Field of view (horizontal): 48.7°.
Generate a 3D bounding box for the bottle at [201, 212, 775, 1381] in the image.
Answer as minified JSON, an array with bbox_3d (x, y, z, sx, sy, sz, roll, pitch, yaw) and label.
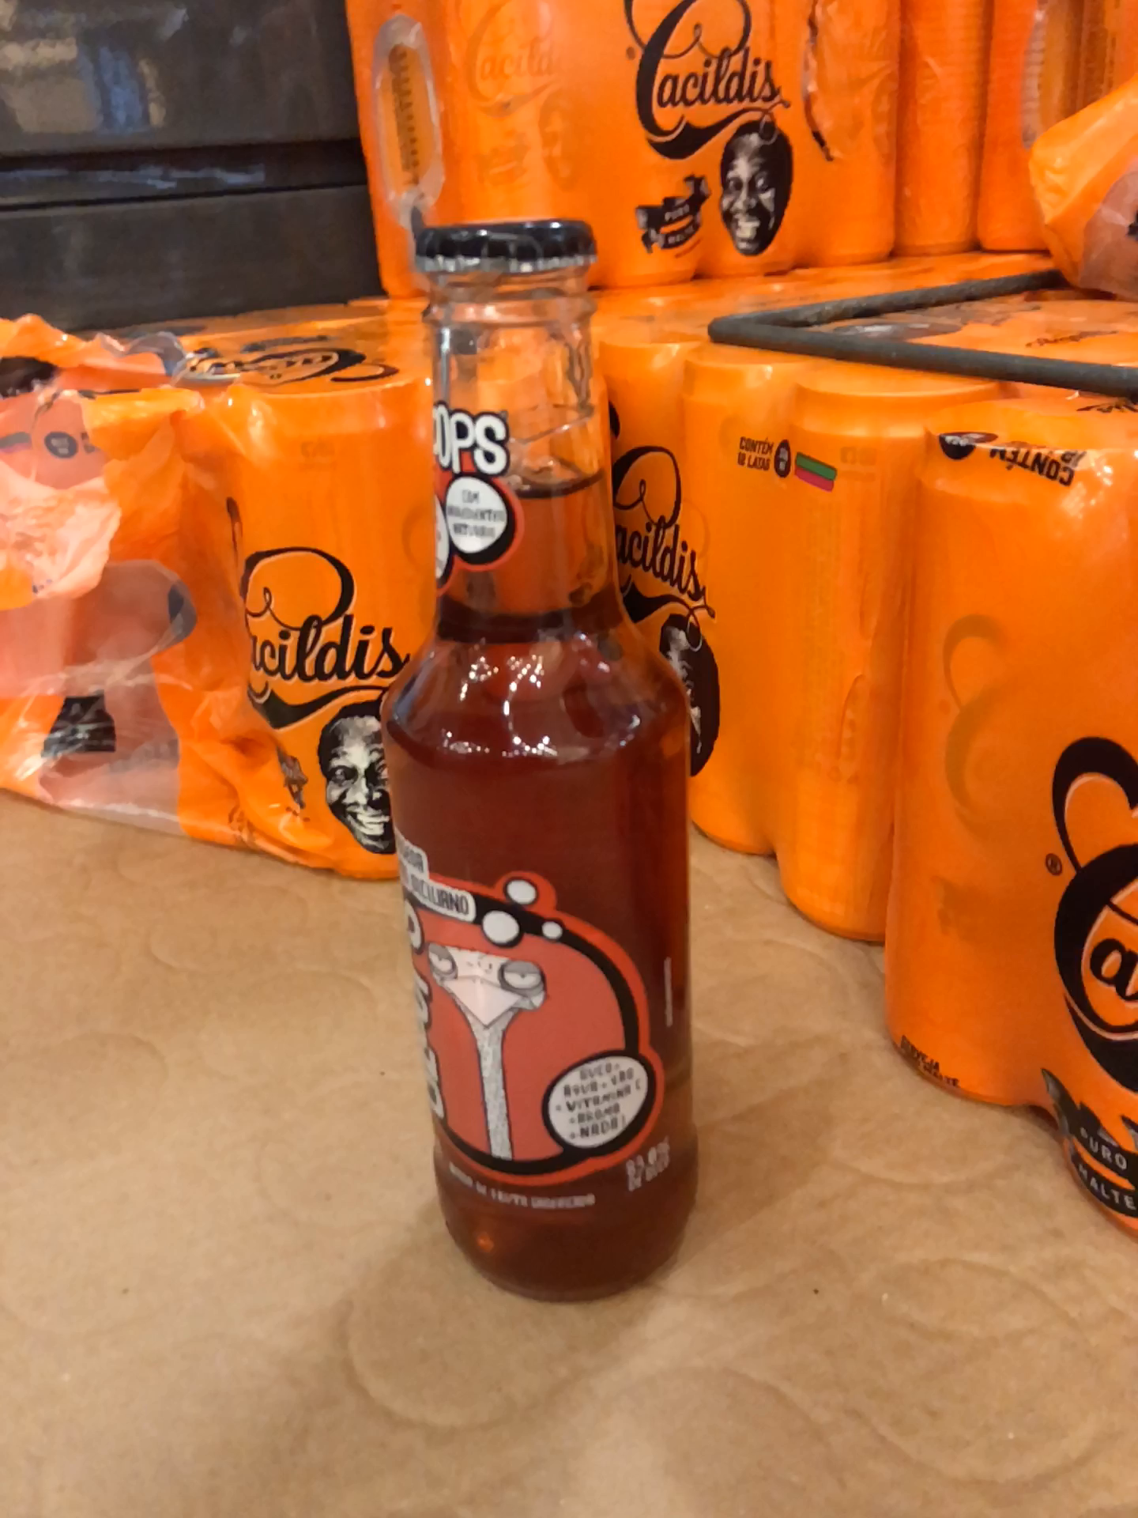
[{"bbox_3d":[-0.008,0.008,0.224,0.070,0.189,0.050,19,33,40],"label":"bottle"}]
